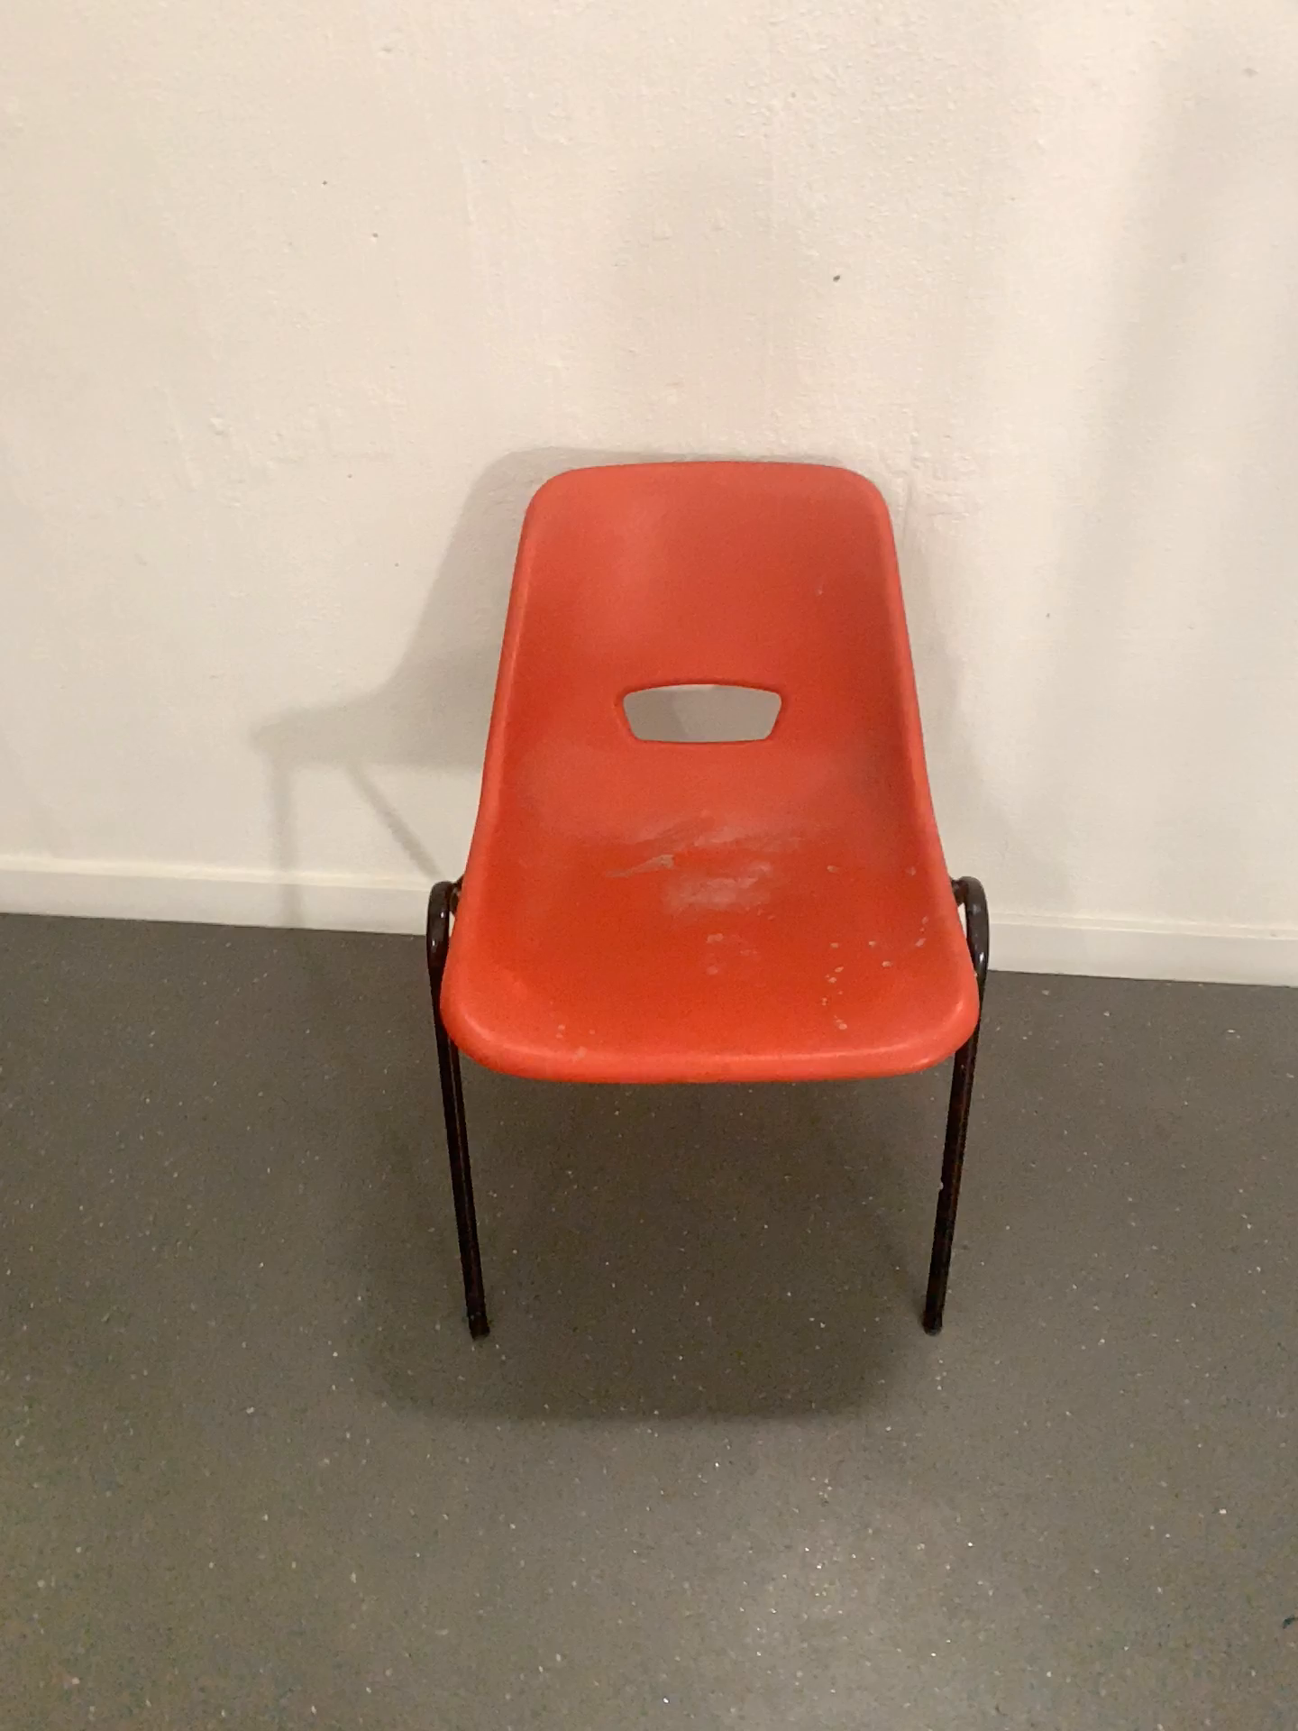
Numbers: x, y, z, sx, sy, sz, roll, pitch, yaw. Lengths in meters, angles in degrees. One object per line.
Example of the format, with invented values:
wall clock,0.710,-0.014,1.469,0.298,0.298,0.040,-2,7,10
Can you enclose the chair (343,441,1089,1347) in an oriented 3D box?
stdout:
chair,0.058,0.043,1.363,0.510,0.713,0.596,-1,44,2
